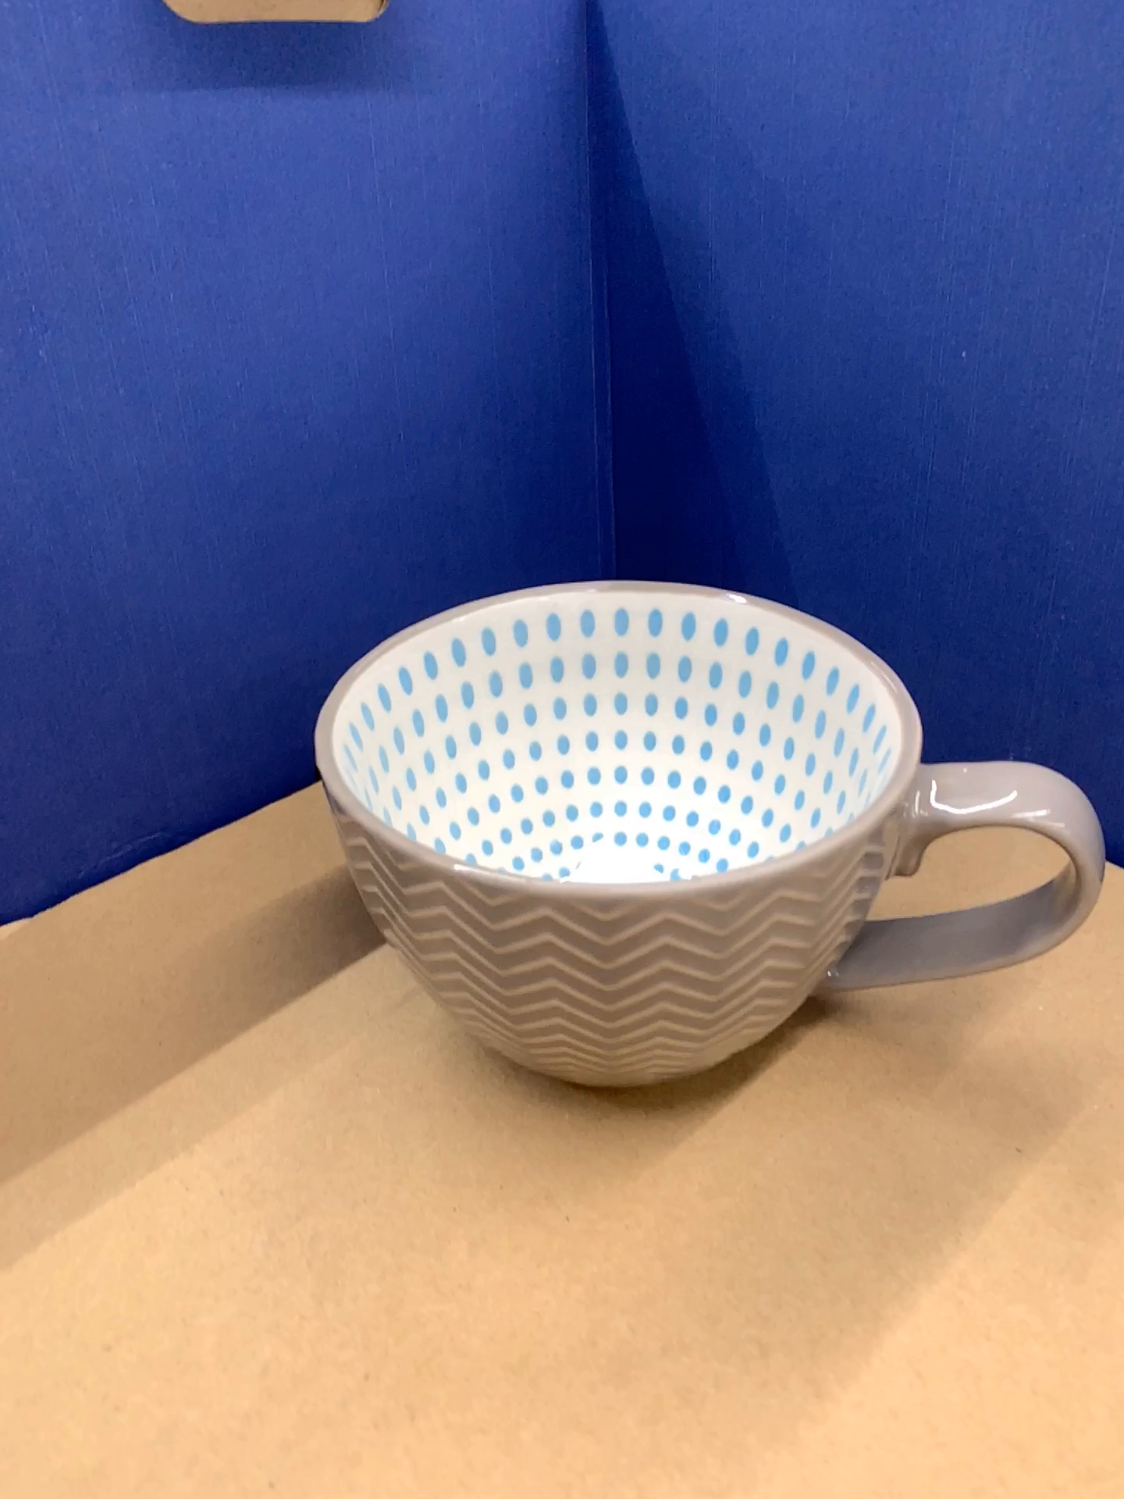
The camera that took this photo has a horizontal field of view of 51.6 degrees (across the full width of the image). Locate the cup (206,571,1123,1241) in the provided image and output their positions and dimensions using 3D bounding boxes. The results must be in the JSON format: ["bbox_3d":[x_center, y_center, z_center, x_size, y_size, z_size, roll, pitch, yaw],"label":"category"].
[{"bbox_3d":[0.028,0.017,0.227,0.143,0.061,0.119,2,30,9],"label":"cup"}]
